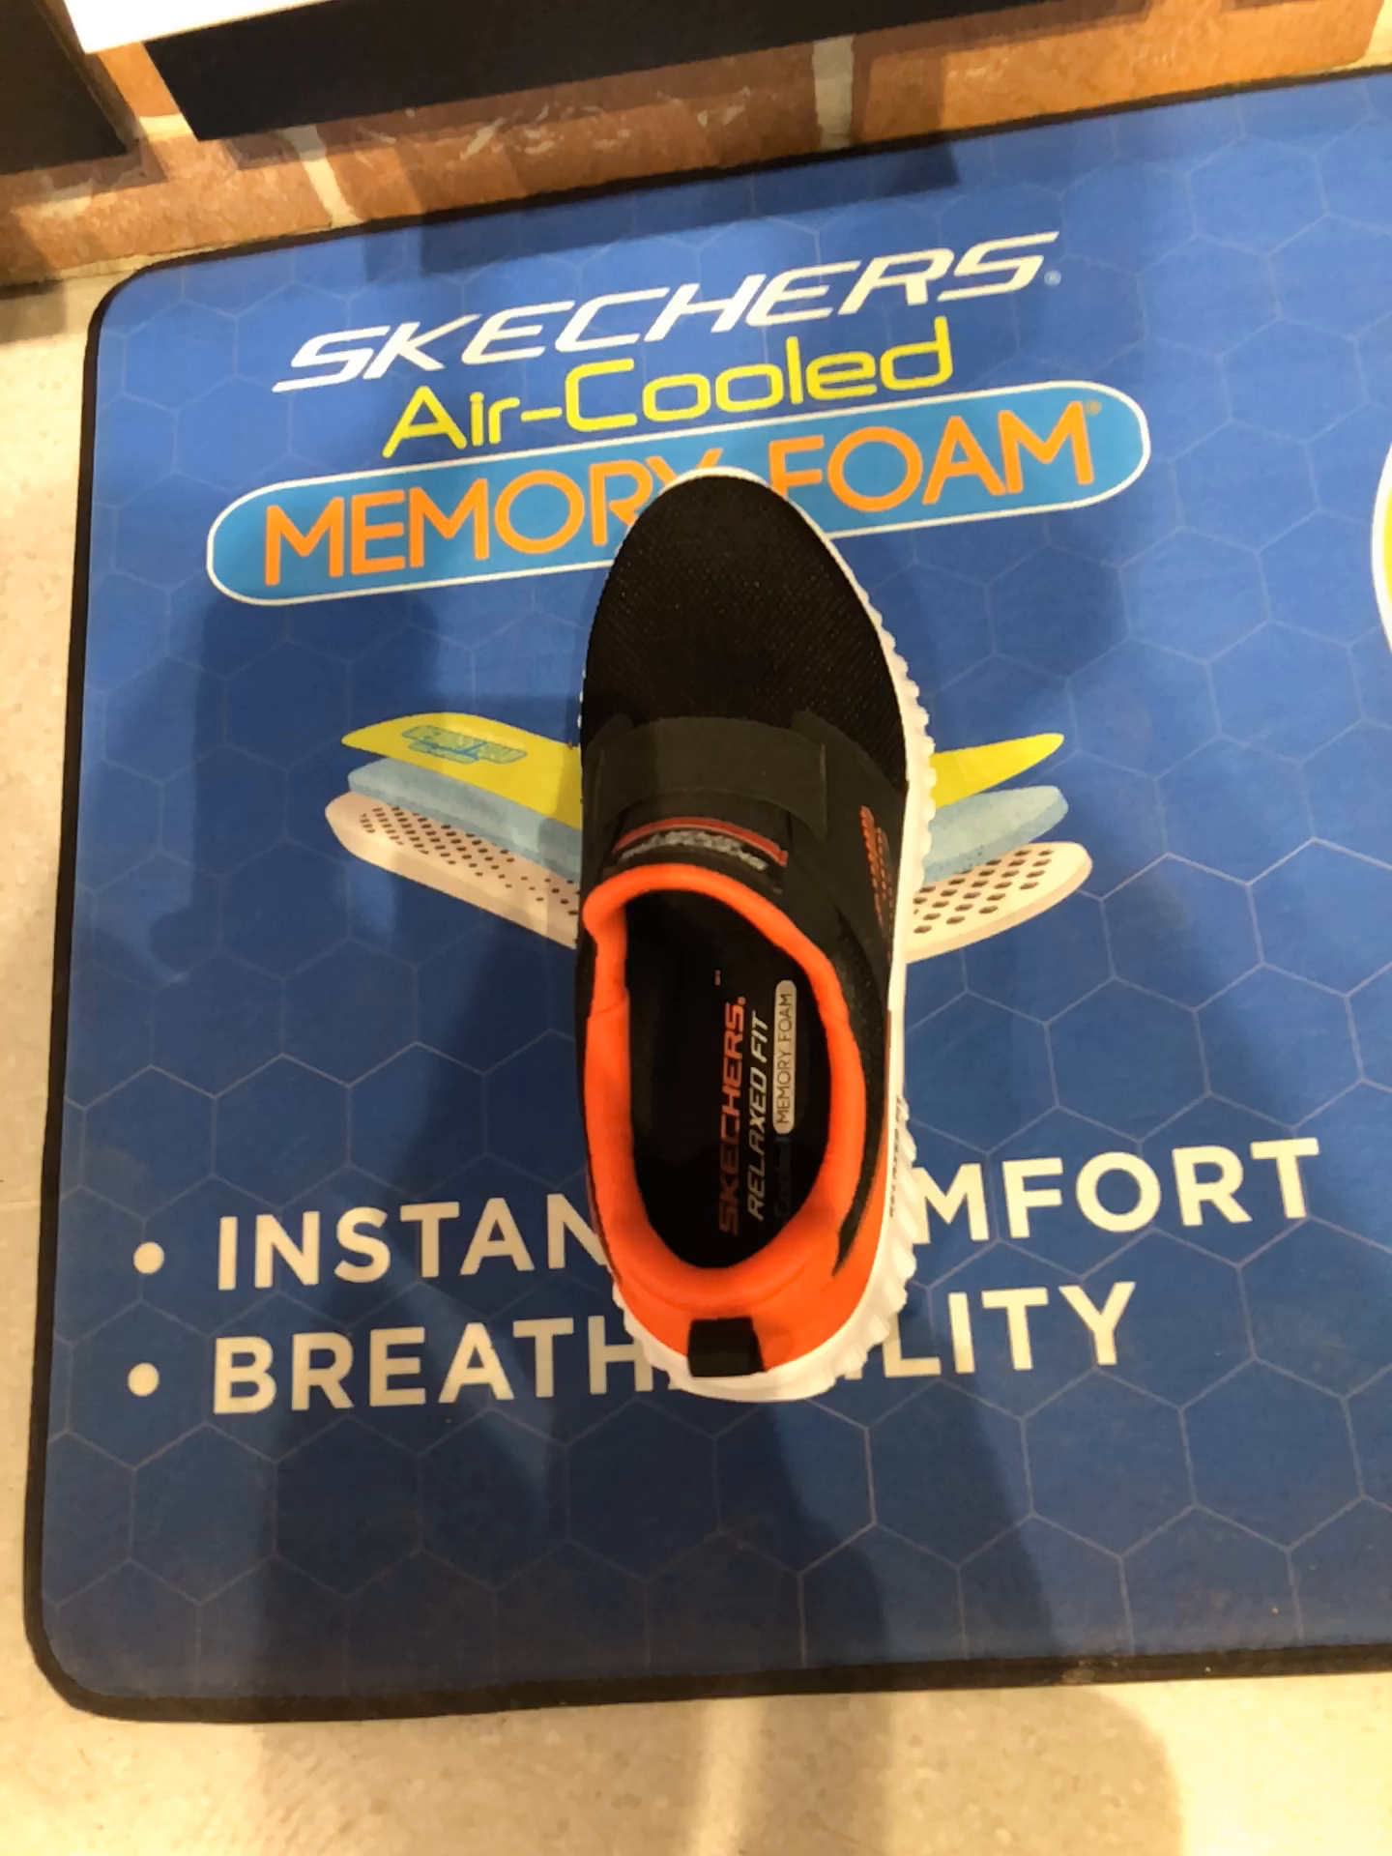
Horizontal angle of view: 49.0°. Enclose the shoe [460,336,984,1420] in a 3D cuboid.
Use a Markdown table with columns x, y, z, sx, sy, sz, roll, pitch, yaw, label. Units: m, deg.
| x | y | z | sx | sy | sz | roll | pitch | yaw | label |
| --- | --- | --- | --- | --- | --- | --- | --- | --- | --- |
| 0.011 | -0.005 | 0.442 | 0.116 | 0.136 | 0.277 | -3 | 73 | 7 | shoe |
